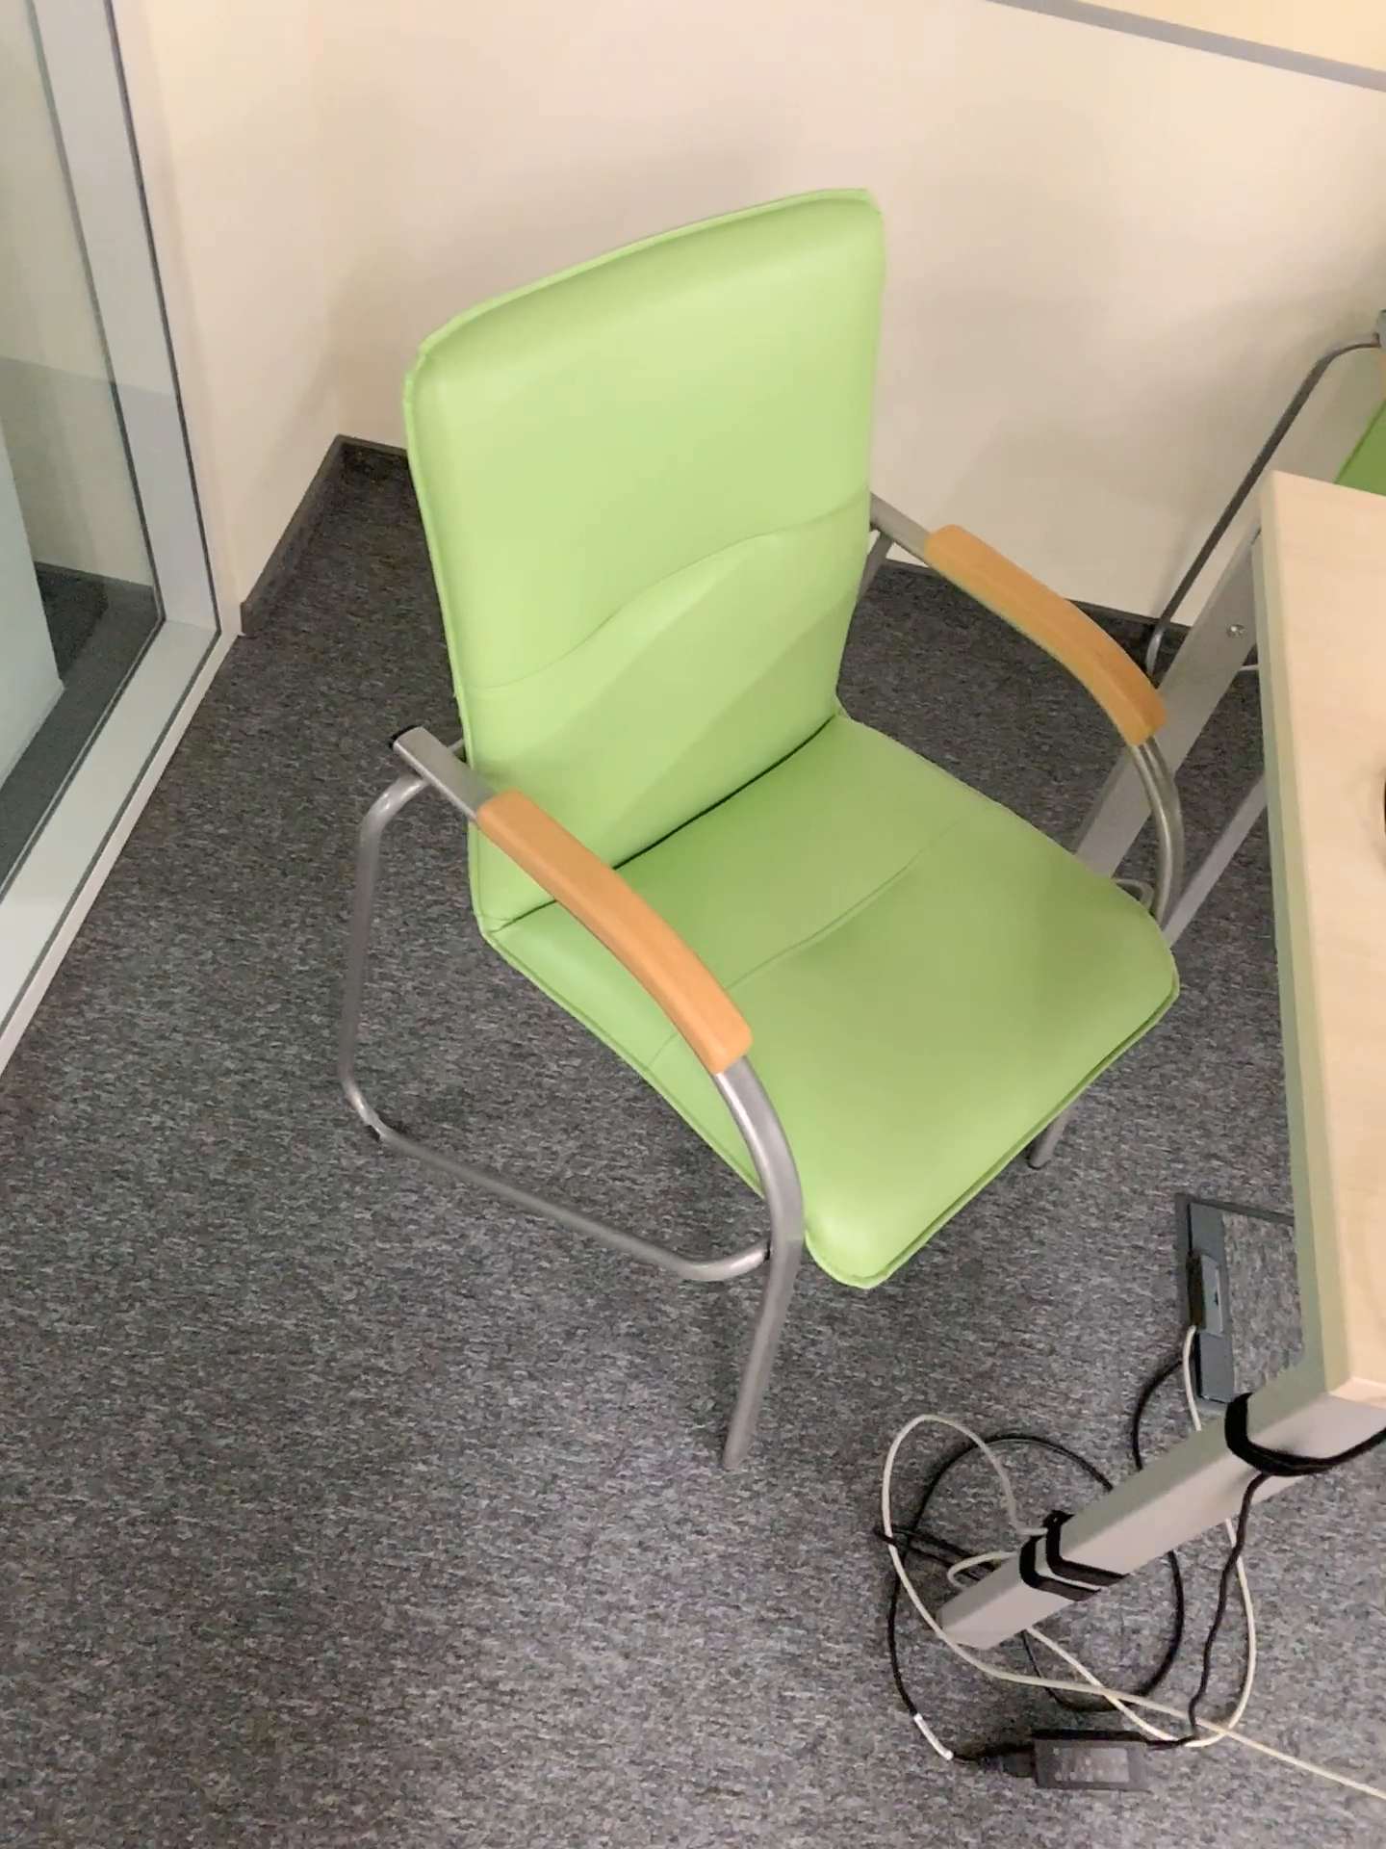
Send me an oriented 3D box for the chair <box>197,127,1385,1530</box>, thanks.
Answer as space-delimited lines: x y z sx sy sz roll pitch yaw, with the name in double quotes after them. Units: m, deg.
0.086 -0.051 1.294 0.672 0.896 0.651 -34 66 -29 "chair"
